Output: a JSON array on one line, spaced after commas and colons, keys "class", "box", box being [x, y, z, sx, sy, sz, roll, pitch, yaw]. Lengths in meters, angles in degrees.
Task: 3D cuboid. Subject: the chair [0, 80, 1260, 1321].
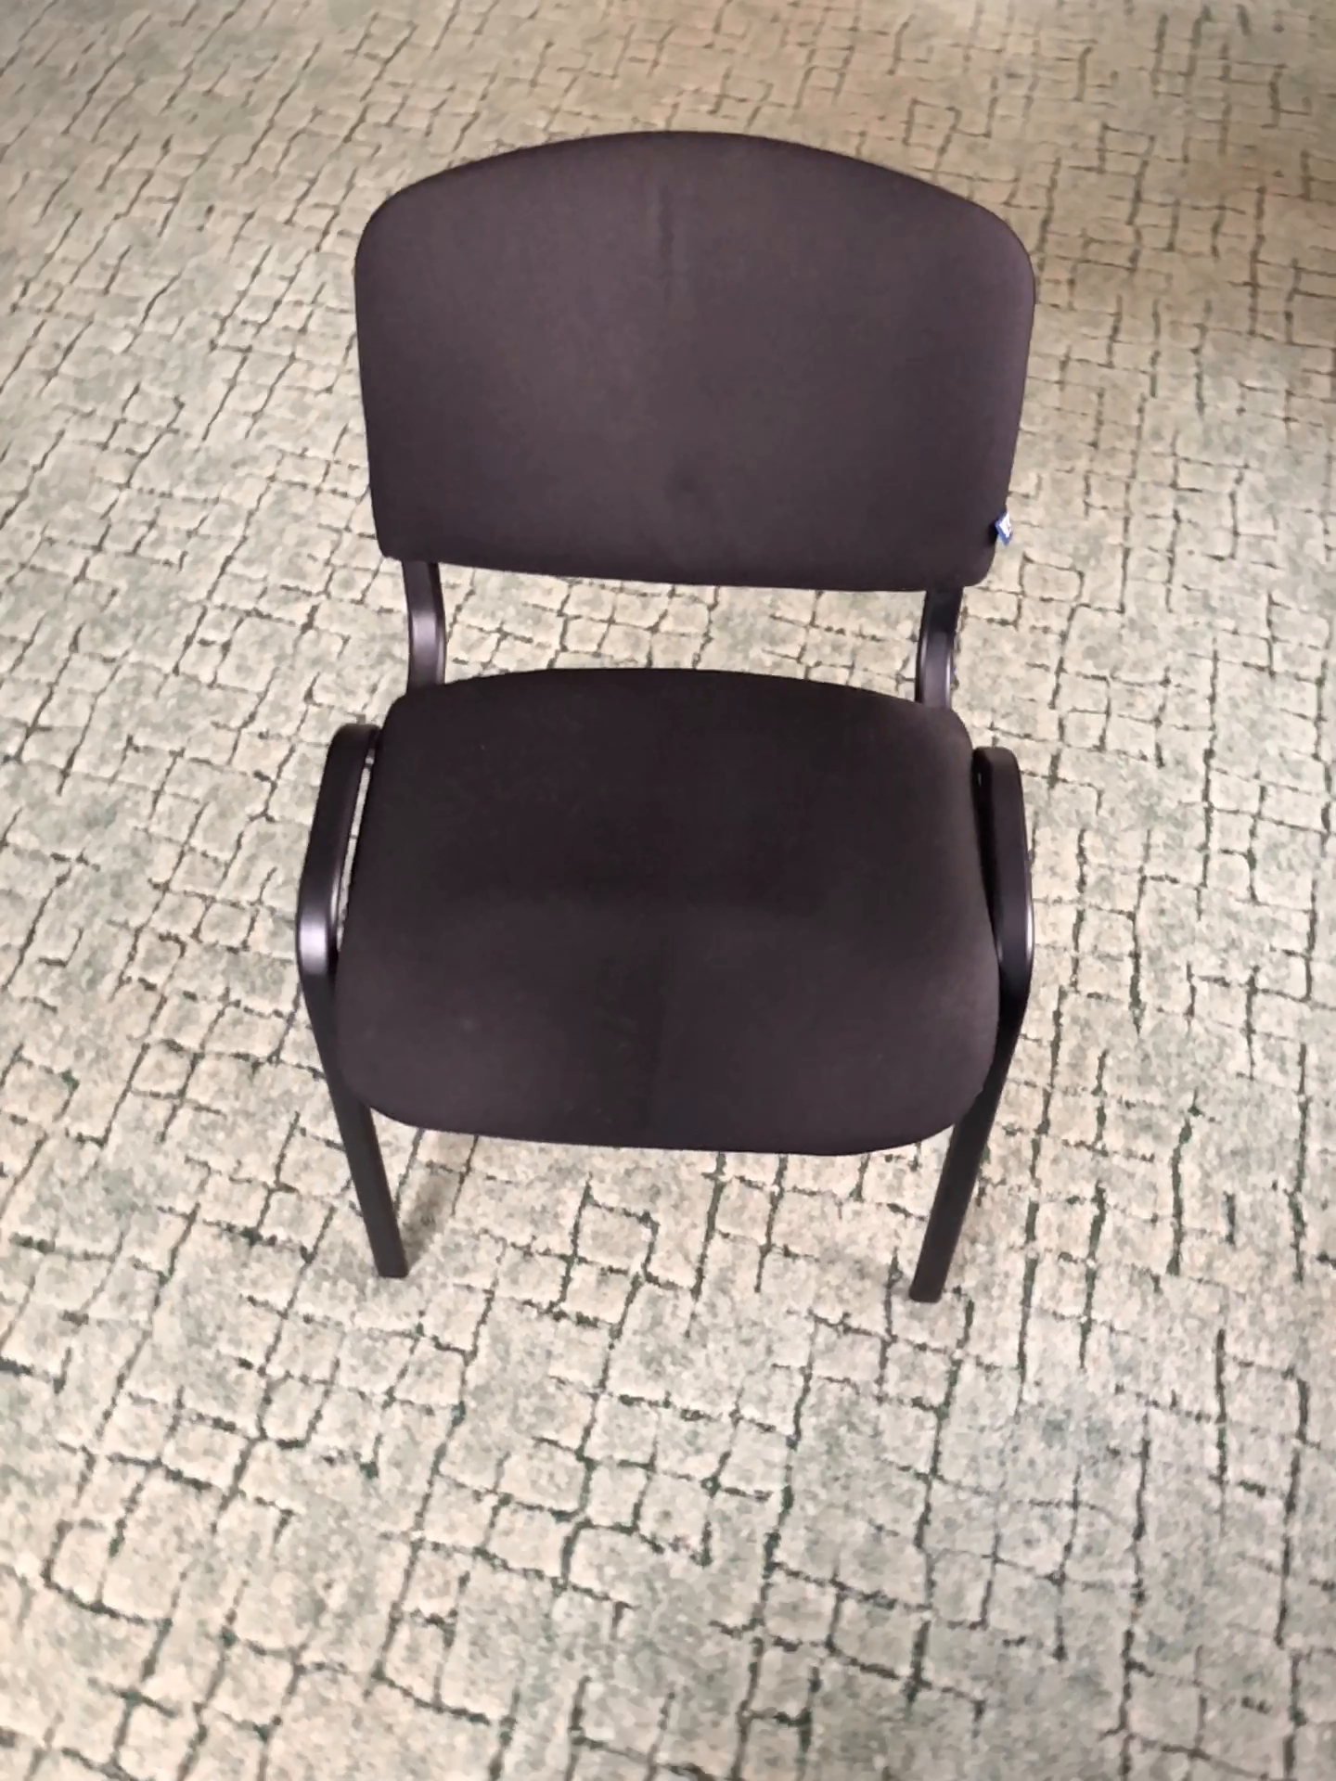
[{"class": "chair", "box": [-0.002, -0.077, 1.163, 0.580, 0.786, 0.603, 3, 60, 2]}]
